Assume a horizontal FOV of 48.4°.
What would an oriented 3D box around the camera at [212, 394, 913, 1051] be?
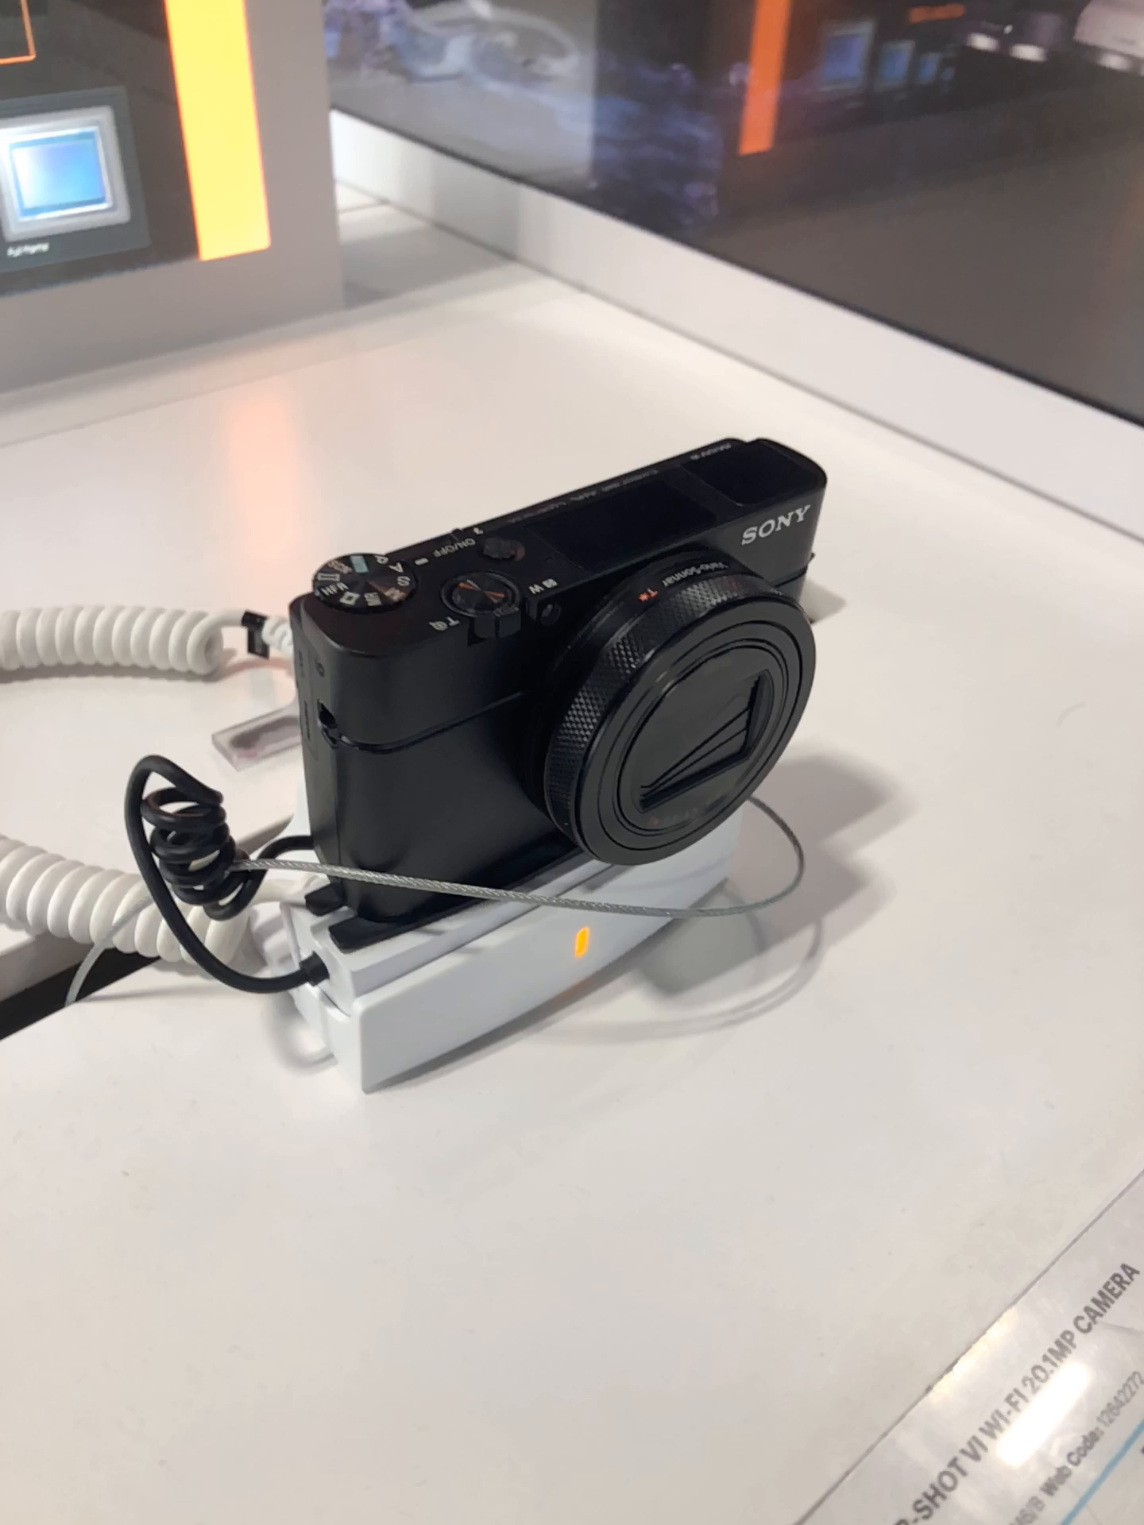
[{"bbox_3d":[0.002,-0.012,0.223,0.110,0.070,0.040,-26,47,-31],"label":"camera"}]
